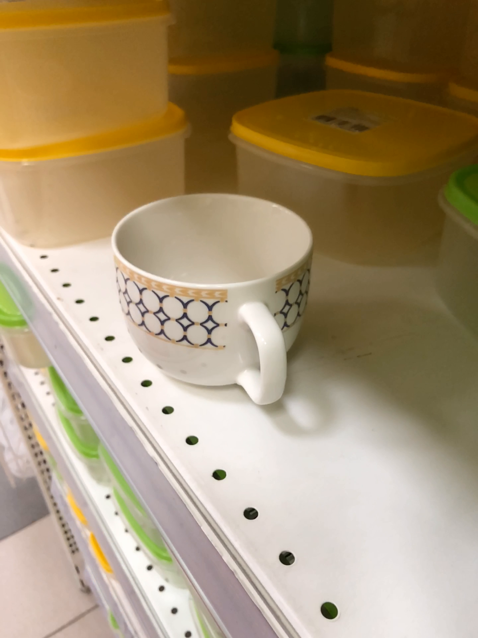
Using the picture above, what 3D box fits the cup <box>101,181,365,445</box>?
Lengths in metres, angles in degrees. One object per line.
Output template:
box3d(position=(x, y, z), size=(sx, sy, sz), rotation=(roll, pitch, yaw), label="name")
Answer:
box3d(position=(-0.013, -0.014, 0.290), size=(0.105, 0.062, 0.135), rotation=(-10, 37, -11), label="cup")
